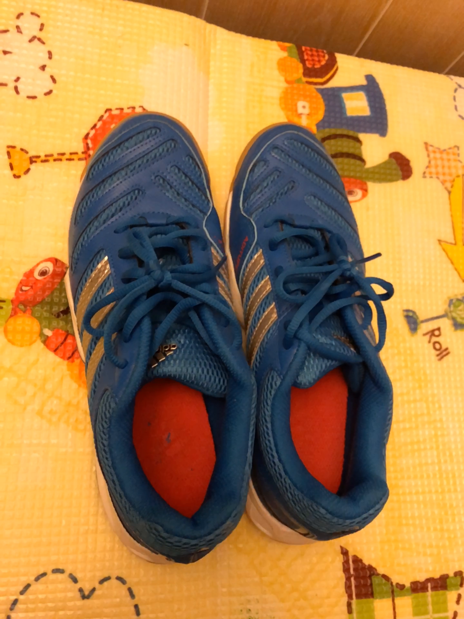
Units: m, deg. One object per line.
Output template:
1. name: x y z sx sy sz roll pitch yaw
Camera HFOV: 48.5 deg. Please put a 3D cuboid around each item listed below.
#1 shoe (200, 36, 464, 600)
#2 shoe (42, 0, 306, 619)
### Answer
1. shoe: 0.049 0.001 0.331 0.110 0.120 0.290 0 78 -14
2. shoe: -0.045 -0.006 0.310 0.110 0.140 0.290 0 78 -14
